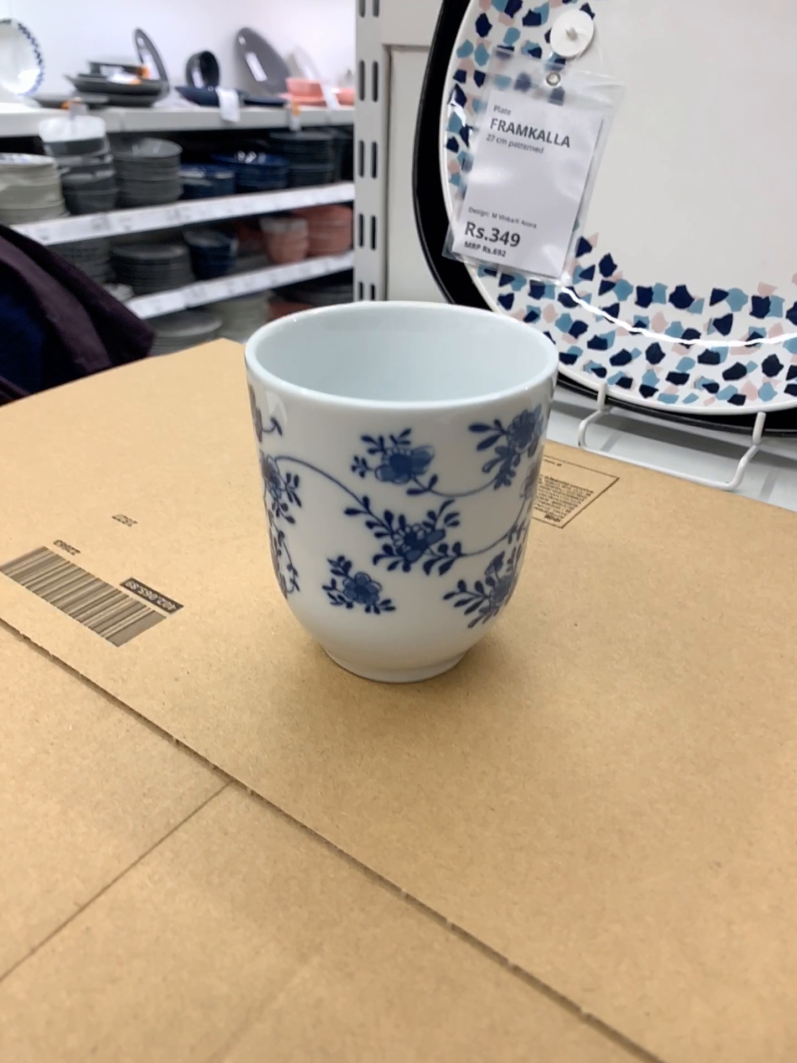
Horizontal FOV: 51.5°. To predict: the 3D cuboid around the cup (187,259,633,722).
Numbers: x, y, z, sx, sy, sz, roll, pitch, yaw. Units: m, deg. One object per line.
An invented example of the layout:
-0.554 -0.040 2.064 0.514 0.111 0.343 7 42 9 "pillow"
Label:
0.003 -0.015 0.202 0.080 0.080 0.080 2 29 -1 "cup"
